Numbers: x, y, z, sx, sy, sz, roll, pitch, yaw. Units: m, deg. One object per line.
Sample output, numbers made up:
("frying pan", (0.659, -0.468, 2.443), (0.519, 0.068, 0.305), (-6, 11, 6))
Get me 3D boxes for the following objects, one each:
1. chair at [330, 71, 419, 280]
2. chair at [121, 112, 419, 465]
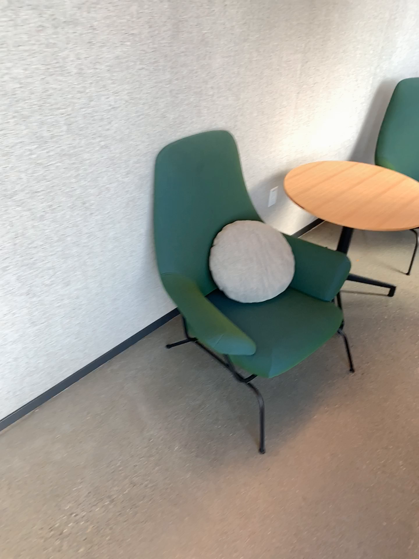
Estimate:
("chair", (1.488, -0.722, 2.794), (0.820, 0.954, 1.006), (-6, 39, -11))
("chair", (0.244, -0.024, 1.889), (0.832, 1.033, 0.853), (-28, 47, -33))
